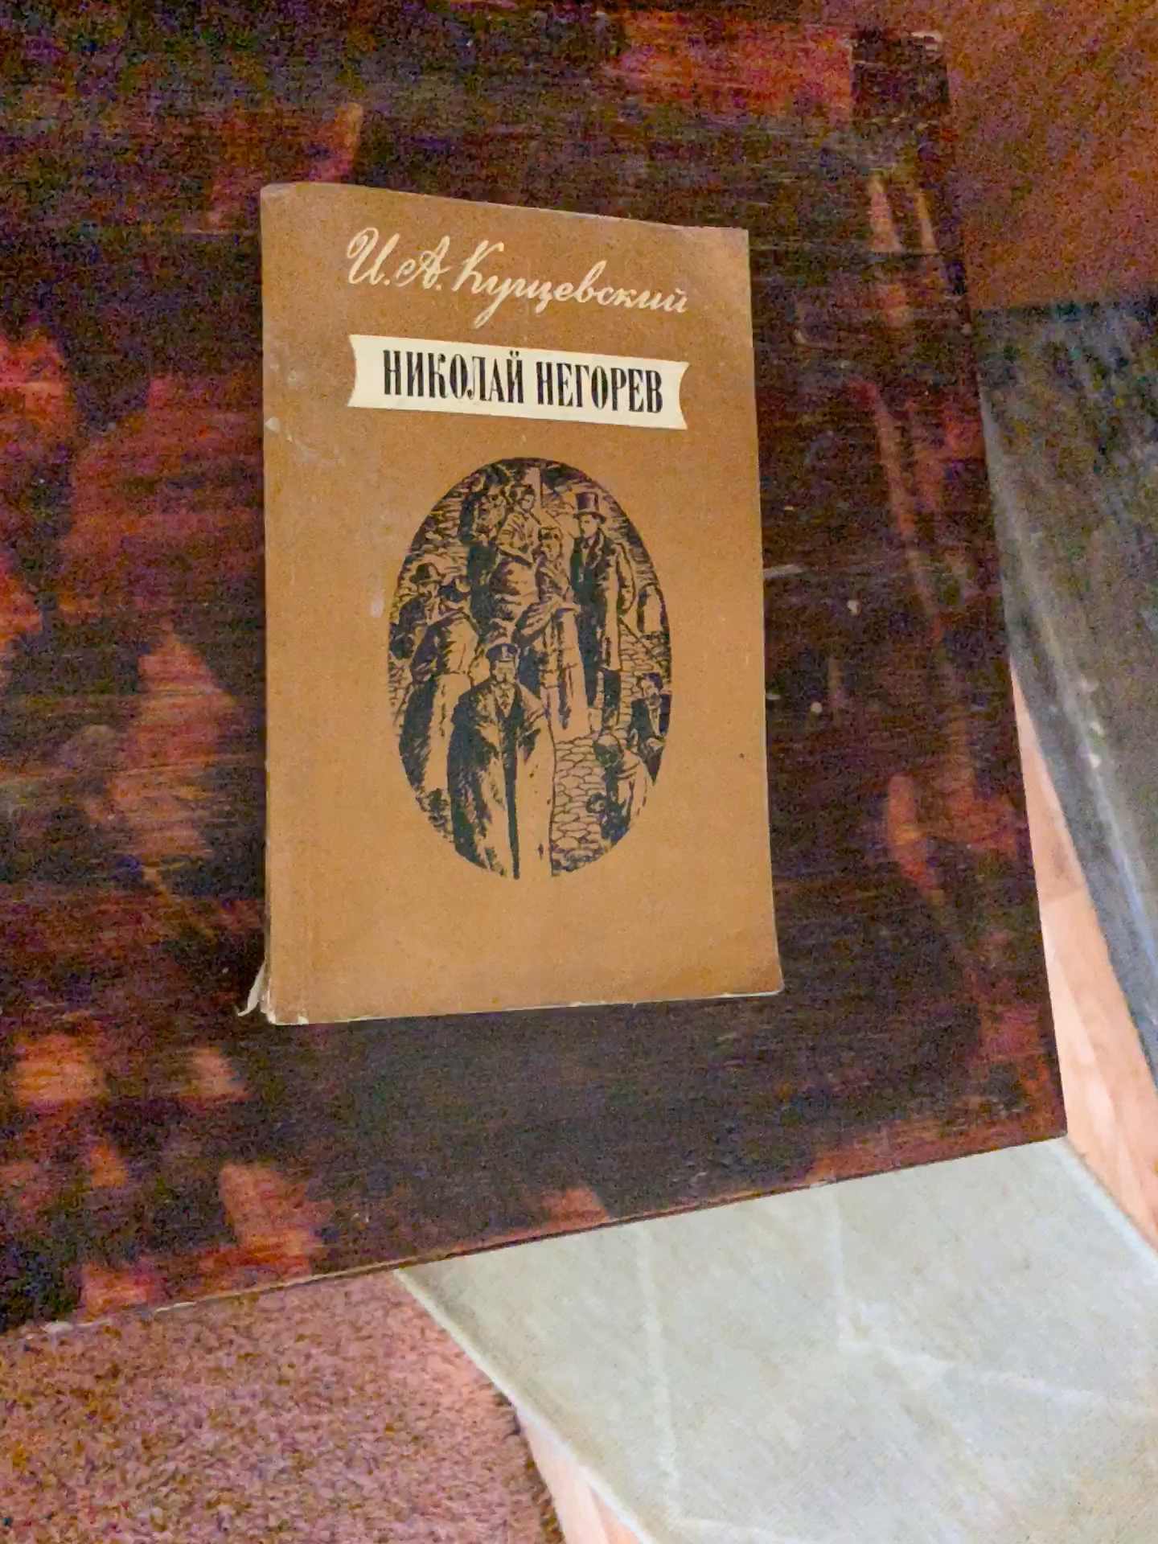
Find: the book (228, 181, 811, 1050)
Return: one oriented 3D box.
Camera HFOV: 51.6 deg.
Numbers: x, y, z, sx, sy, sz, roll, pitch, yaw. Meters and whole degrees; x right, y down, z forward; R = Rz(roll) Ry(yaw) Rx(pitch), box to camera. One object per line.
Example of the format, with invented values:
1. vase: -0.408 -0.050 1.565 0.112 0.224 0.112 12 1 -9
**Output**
1. book: -0.014 -0.036 0.286 0.130 0.024 0.190 -1 88 -13
